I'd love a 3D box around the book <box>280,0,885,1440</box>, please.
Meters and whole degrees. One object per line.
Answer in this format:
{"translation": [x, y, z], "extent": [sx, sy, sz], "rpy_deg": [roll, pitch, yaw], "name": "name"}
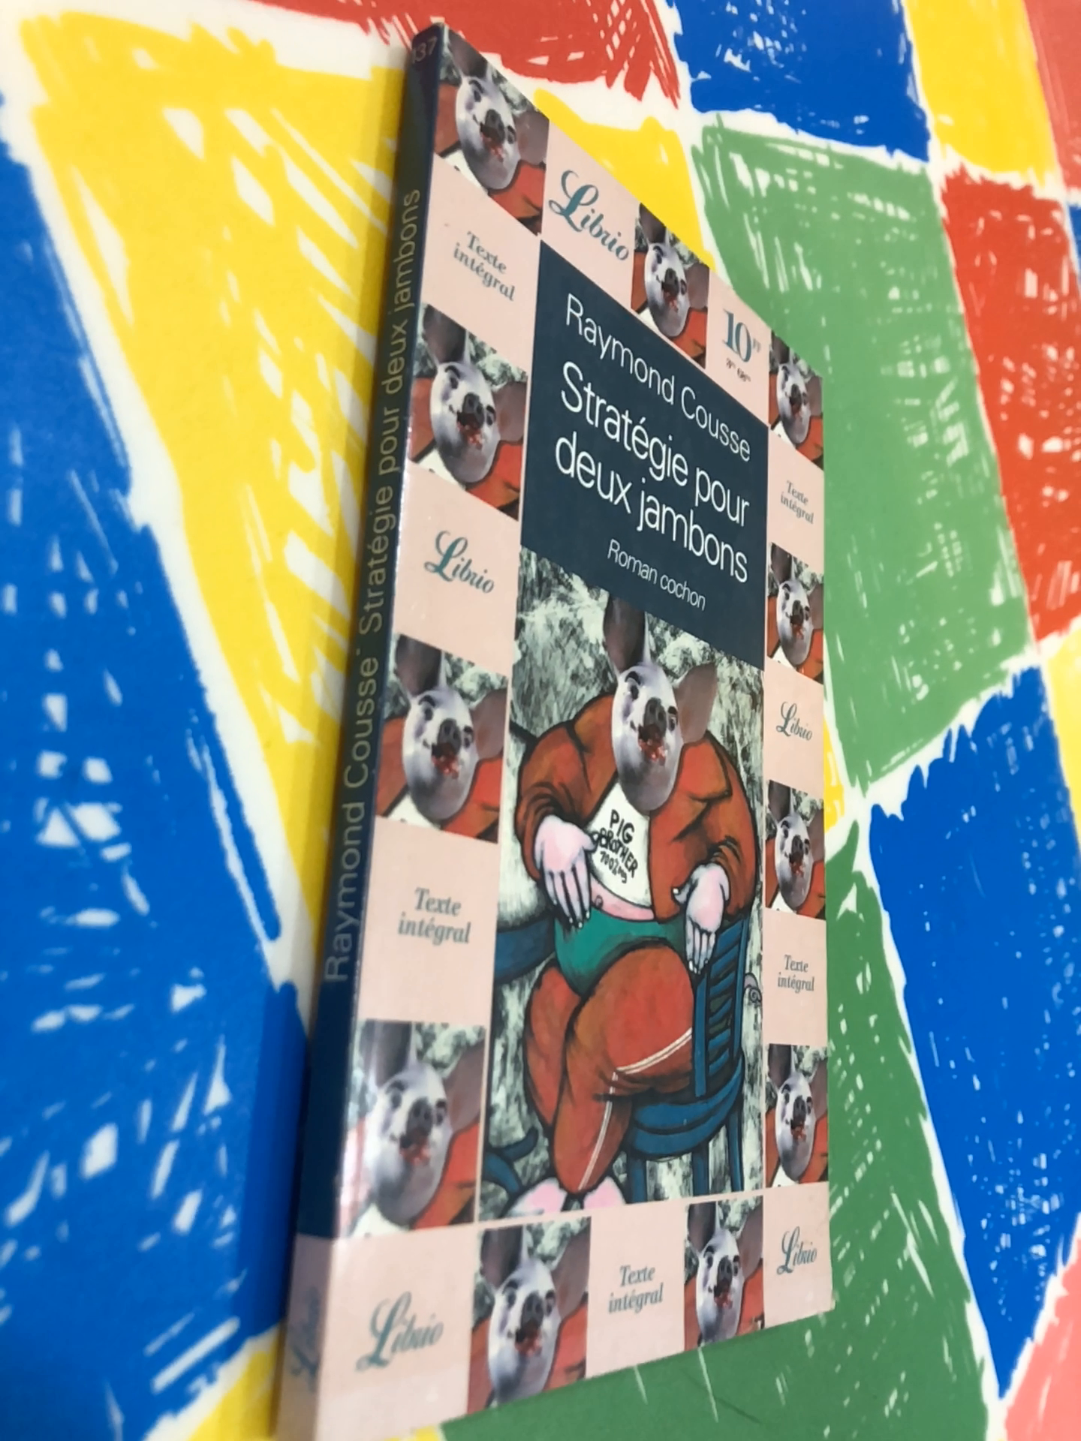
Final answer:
{"translation": [0.022, 0.001, 0.205], "extent": [0.131, 0.013, 0.197], "rpy_deg": [19, 68, -48], "name": "book"}
